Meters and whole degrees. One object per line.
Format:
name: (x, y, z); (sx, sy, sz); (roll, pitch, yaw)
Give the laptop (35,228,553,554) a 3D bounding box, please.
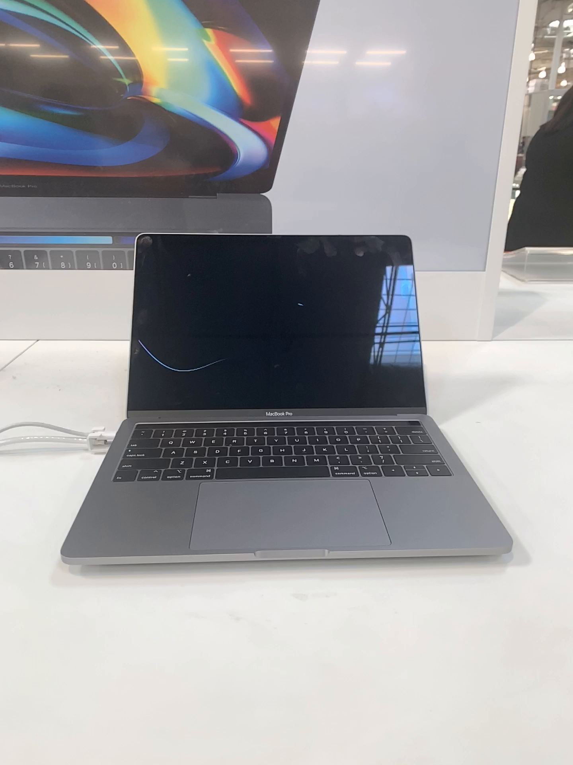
laptop: (0.000, -0.027, 0.493); (0.284, 0.150, 0.316); (0, 23, -3)
